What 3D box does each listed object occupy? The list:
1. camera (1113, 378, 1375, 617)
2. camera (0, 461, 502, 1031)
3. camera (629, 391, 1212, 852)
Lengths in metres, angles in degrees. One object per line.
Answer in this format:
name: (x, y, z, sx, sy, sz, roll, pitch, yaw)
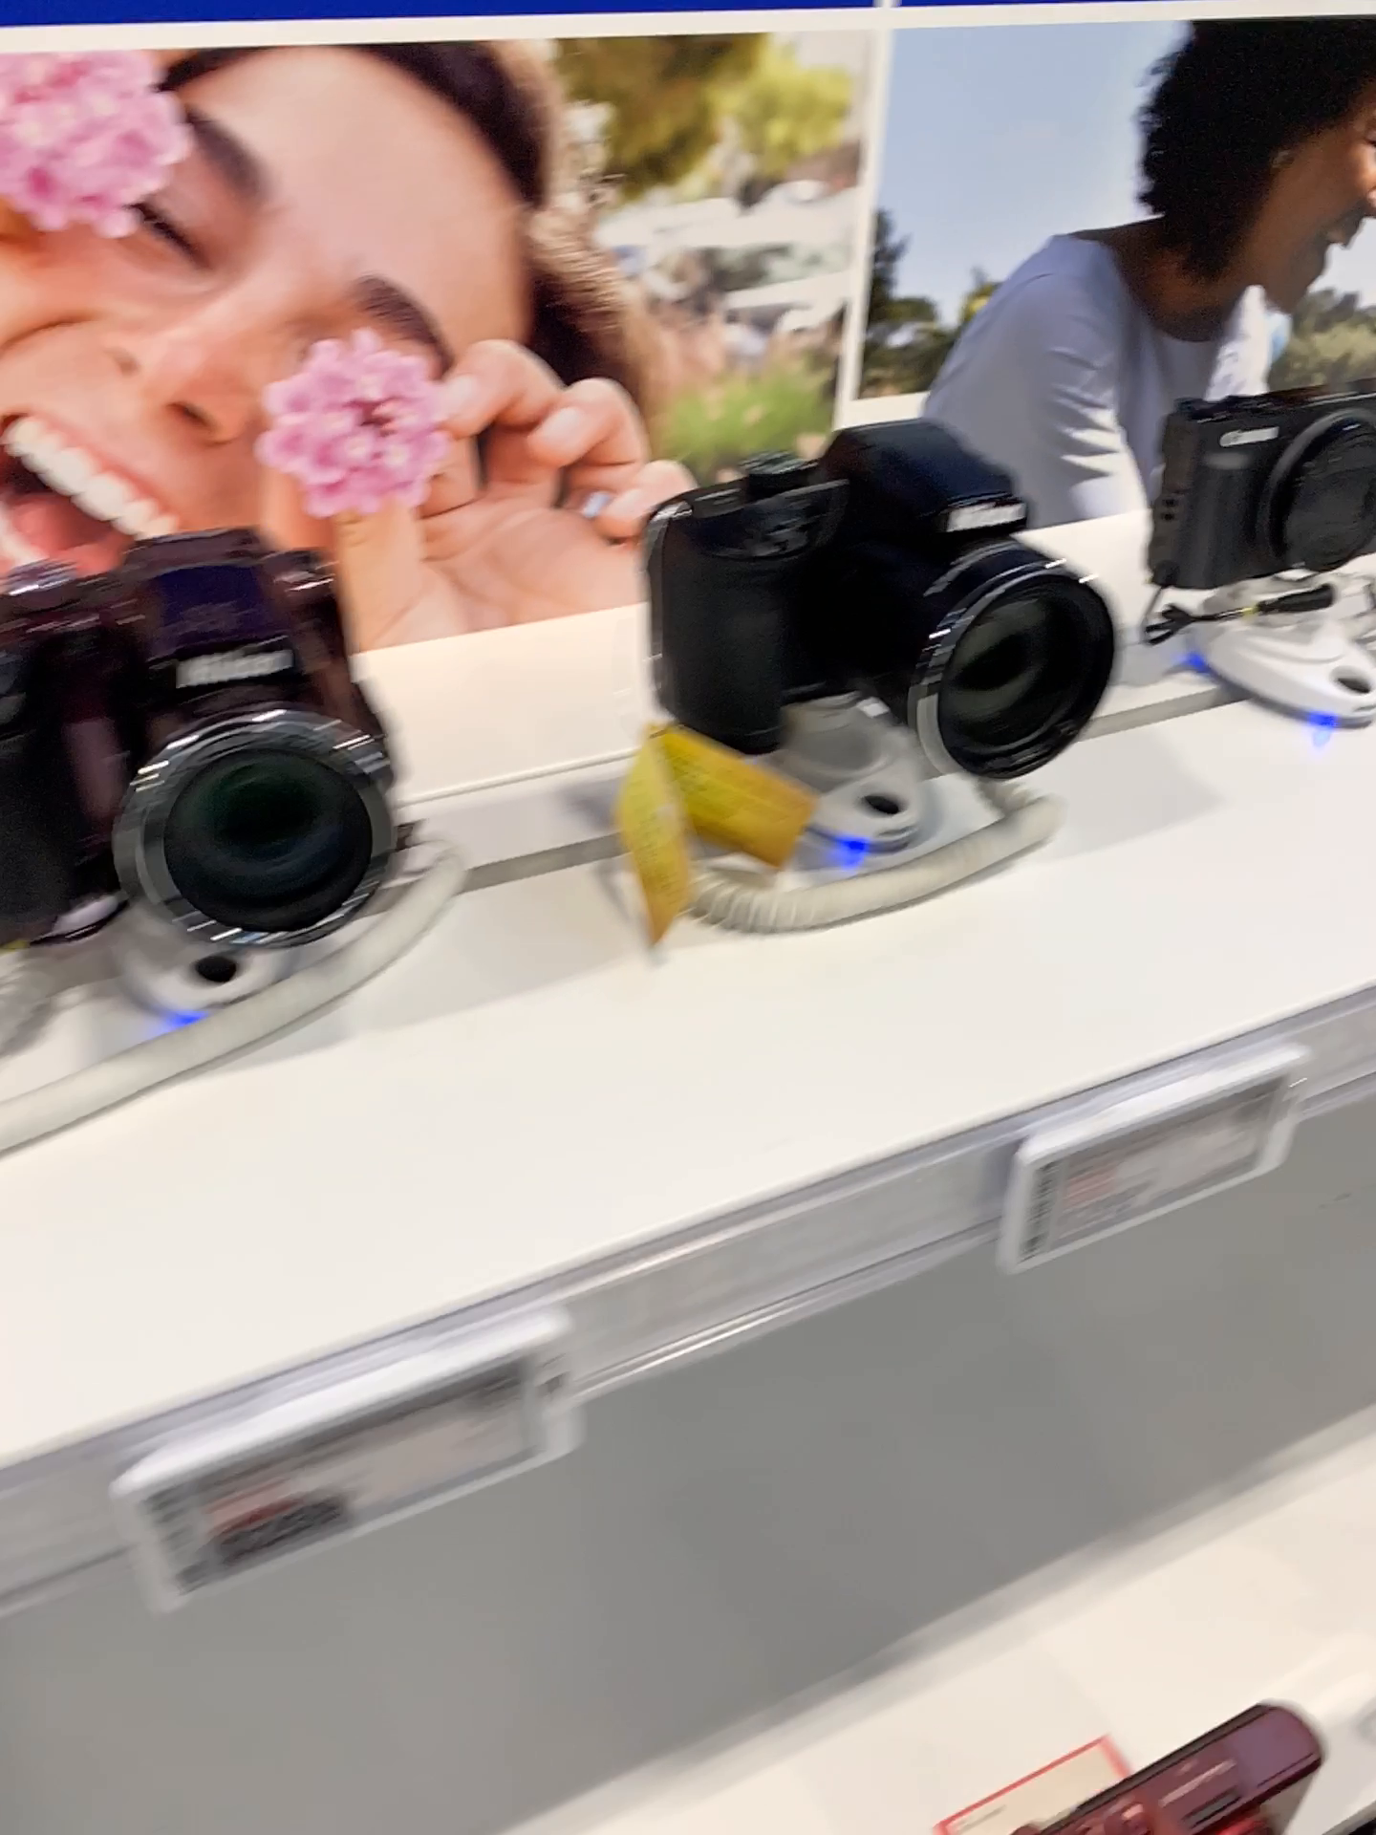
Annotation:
camera: (0.231, -0.162, 0.539, 0.120, 0.060, 0.050, -15, 37, -20)
camera: (-0.129, -0.052, 0.358, 0.130, 0.080, 0.111, -15, 37, -20)
camera: (0.060, -0.093, 0.415, 0.120, 0.080, 0.111, -15, 37, -20)
